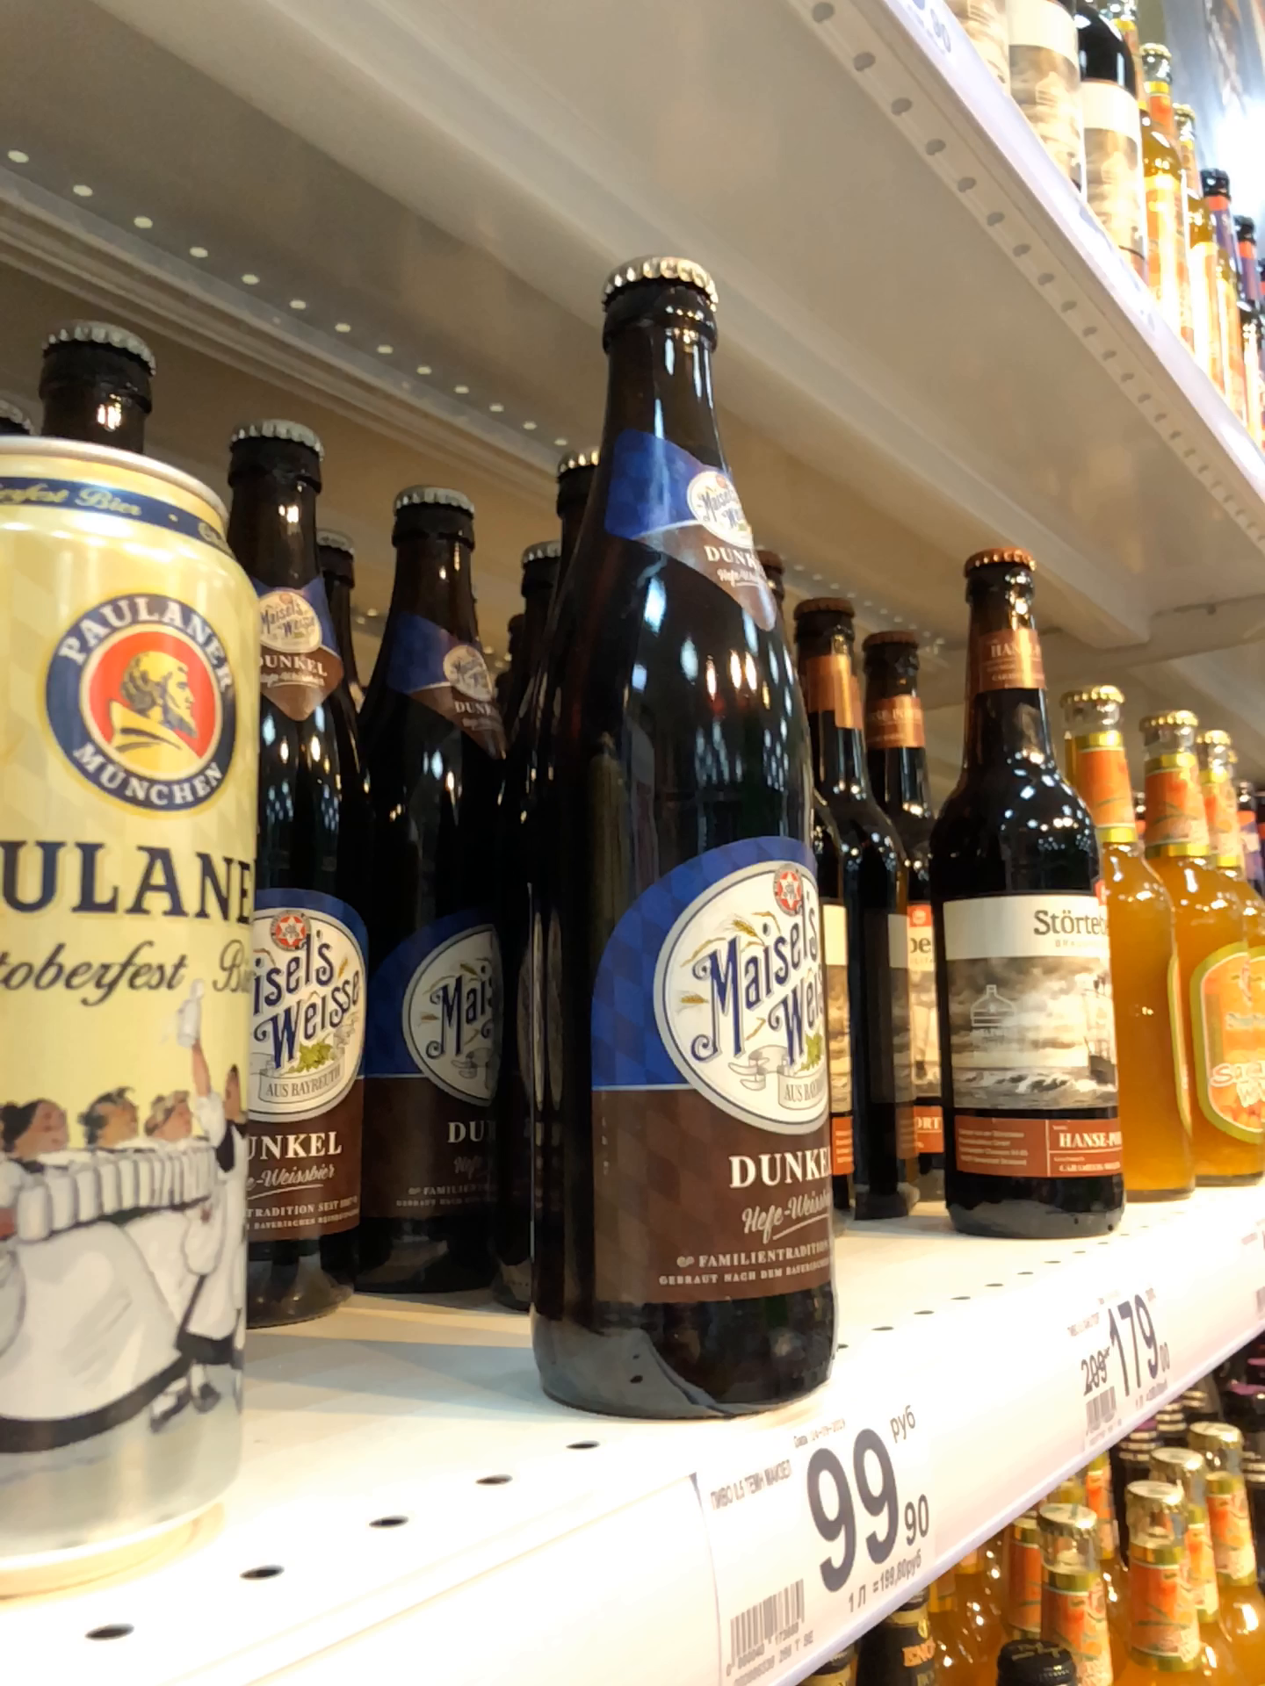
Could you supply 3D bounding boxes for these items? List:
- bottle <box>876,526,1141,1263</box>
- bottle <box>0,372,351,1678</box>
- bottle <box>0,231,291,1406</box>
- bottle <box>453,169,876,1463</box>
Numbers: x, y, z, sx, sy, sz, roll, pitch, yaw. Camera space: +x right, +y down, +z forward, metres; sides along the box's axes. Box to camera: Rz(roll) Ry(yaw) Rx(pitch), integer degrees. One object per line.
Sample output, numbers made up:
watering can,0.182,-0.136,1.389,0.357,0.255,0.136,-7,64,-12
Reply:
bottle,0.149,0.020,0.565,0.065,0.275,0.066,0,-9,0
bottle,-0.097,0.024,0.229,0.068,0.168,0.069,0,-8,0
bottle,-0.144,-0.006,0.362,0.070,0.263,0.082,7,-11,-41
bottle,0.006,-0.008,0.327,0.065,0.263,0.066,0,-9,0
